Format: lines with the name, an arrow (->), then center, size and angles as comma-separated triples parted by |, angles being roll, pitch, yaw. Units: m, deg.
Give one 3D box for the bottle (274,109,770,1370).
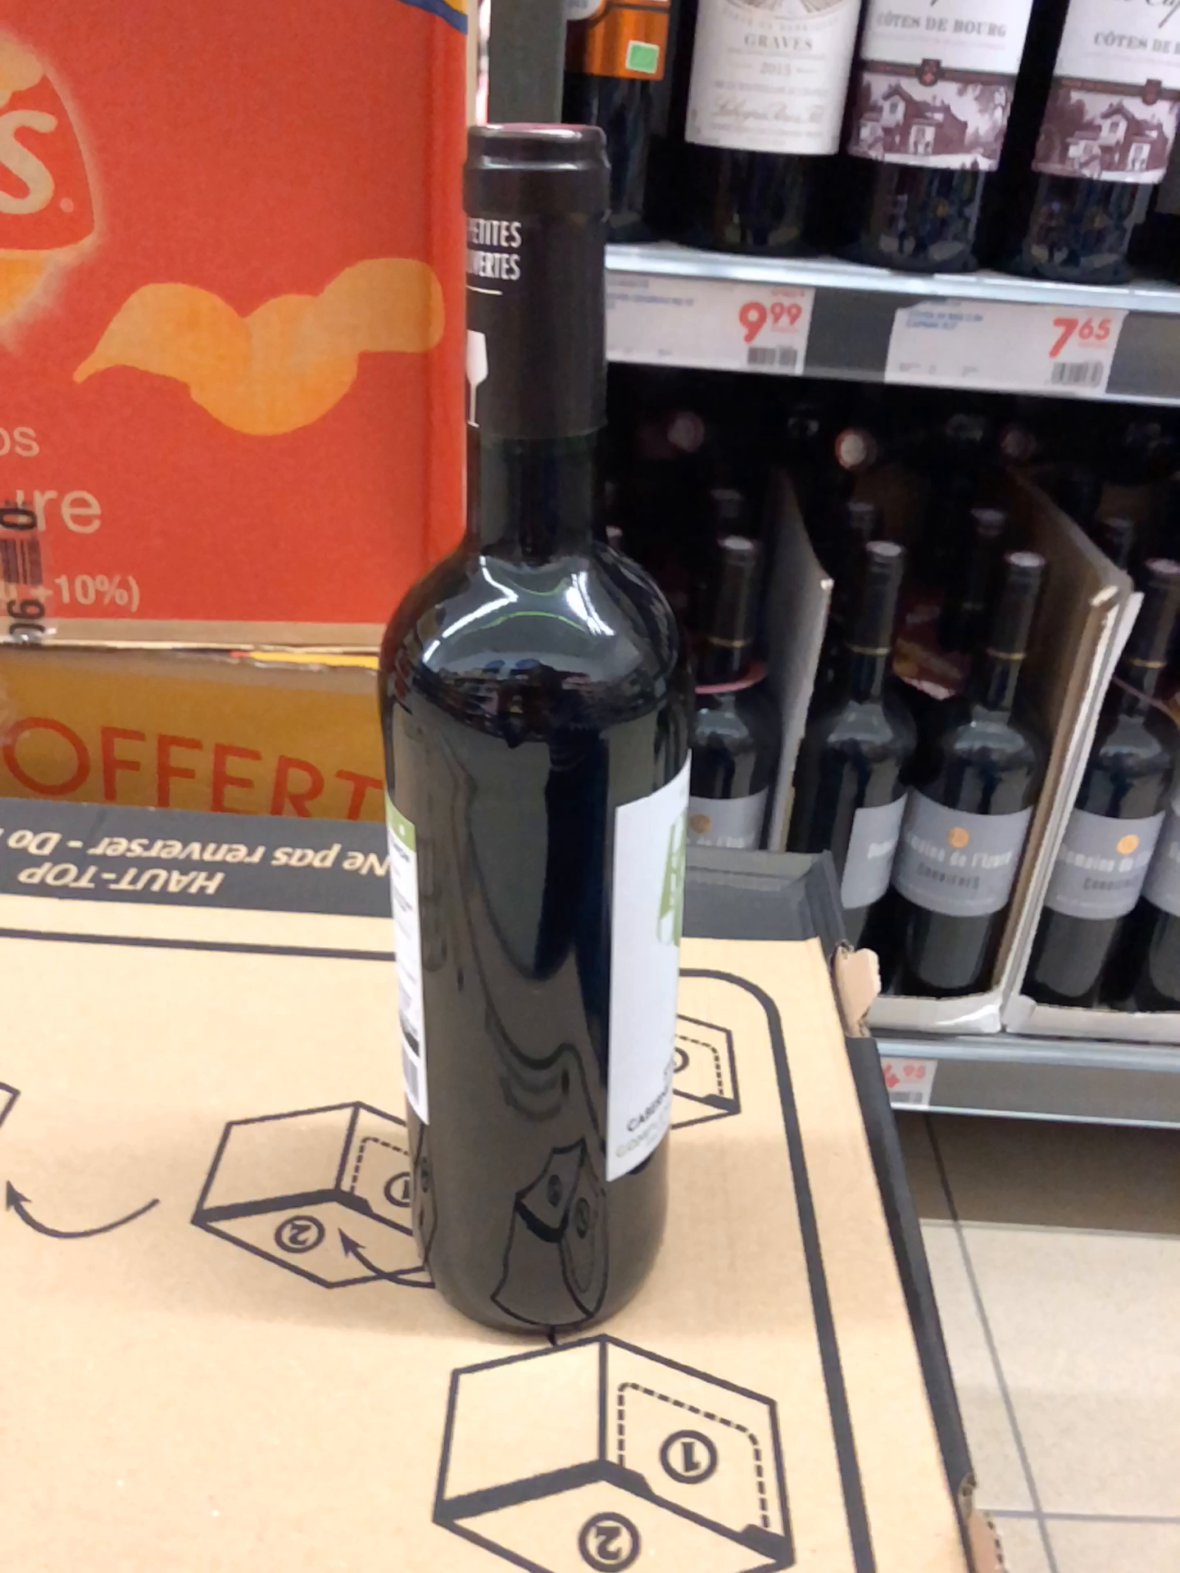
bottle -> -0.011, 0.002, 0.326 | 0.080, 0.298, 0.091 | 6, 29, 7
